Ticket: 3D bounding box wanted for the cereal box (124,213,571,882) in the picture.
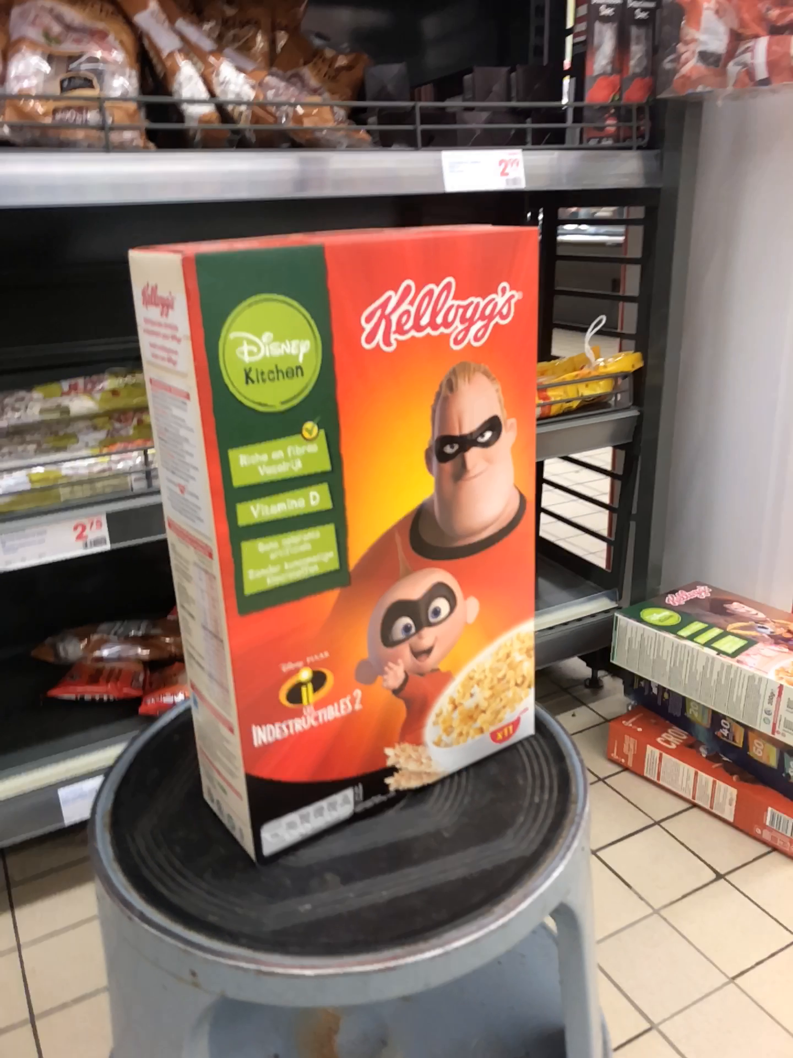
[{"bbox_3d":[-0.013,-0.002,0.464,0.201,0.309,0.080,-14,23,-31],"label":"cereal box"}]
